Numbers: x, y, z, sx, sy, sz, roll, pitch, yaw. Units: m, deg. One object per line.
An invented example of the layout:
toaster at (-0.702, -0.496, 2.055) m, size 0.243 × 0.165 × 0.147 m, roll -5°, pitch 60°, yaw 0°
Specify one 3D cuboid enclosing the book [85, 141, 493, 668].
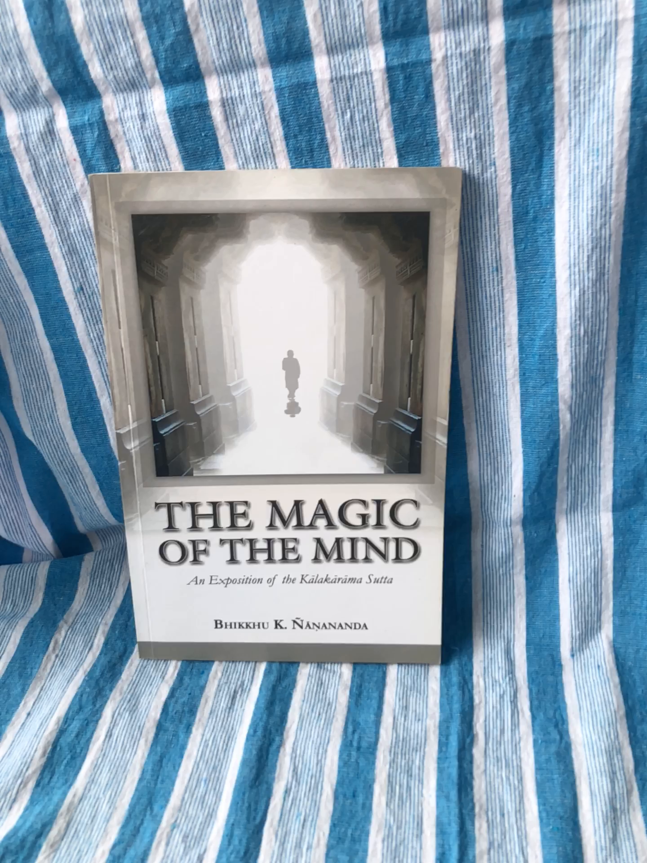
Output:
book at (-0.012, -0.001, 0.298) m, size 0.150 × 0.219 × 0.010 m, roll 0°, pitch 16°, yaw 2°
